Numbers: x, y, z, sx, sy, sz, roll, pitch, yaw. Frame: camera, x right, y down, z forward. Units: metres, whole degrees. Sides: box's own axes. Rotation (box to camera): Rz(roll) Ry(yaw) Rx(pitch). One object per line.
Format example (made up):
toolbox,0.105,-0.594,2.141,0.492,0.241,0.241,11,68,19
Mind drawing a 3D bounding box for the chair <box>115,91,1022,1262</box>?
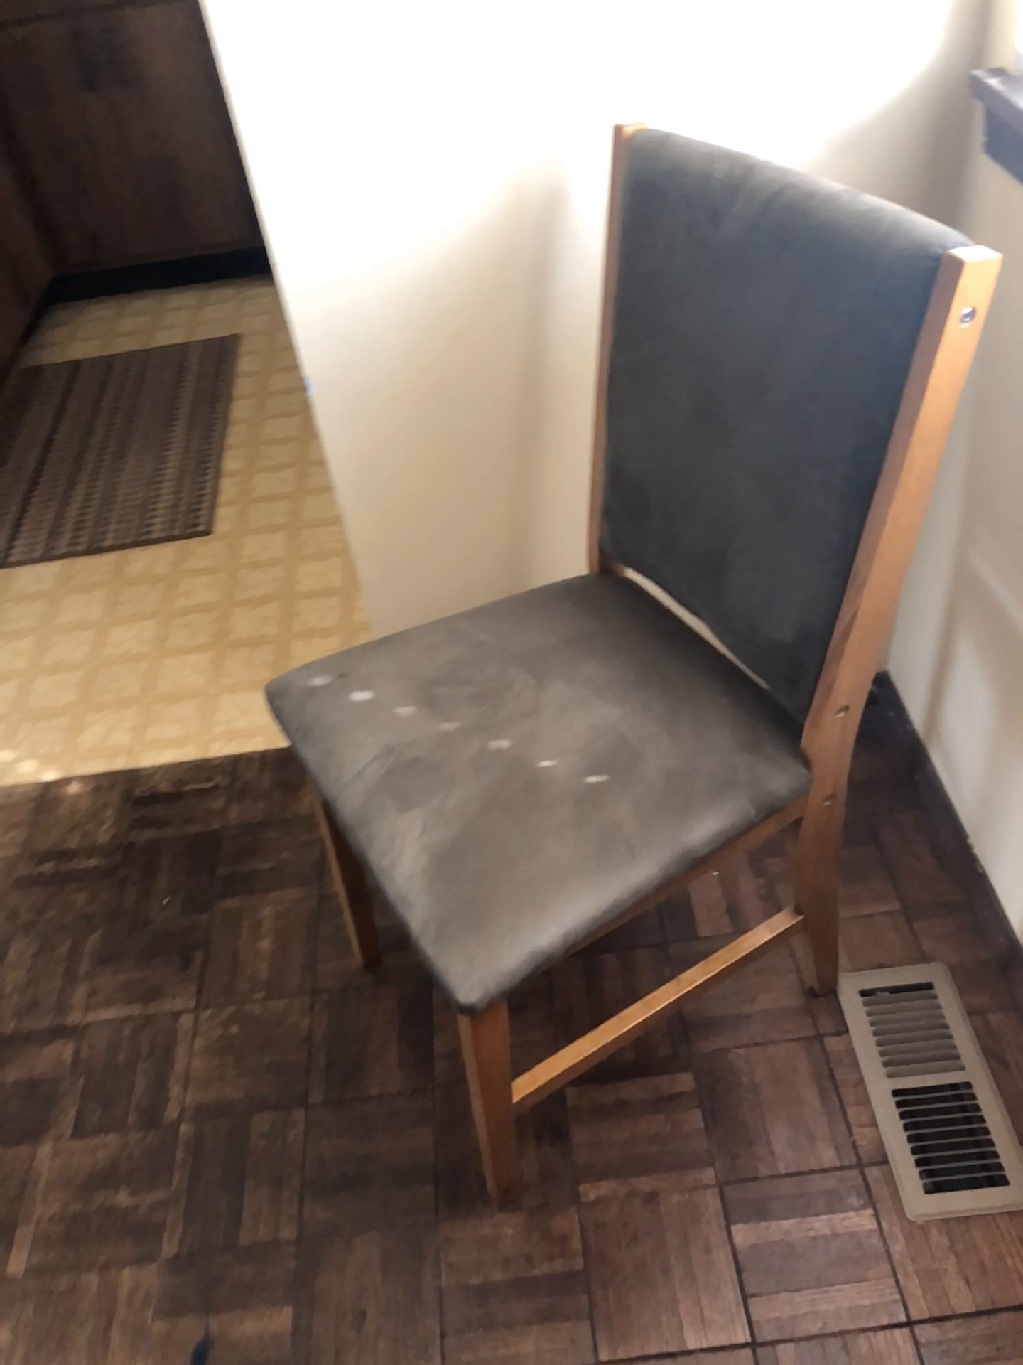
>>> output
chair,0.066,0.010,1.058,0.510,0.858,0.491,-23,44,-20
